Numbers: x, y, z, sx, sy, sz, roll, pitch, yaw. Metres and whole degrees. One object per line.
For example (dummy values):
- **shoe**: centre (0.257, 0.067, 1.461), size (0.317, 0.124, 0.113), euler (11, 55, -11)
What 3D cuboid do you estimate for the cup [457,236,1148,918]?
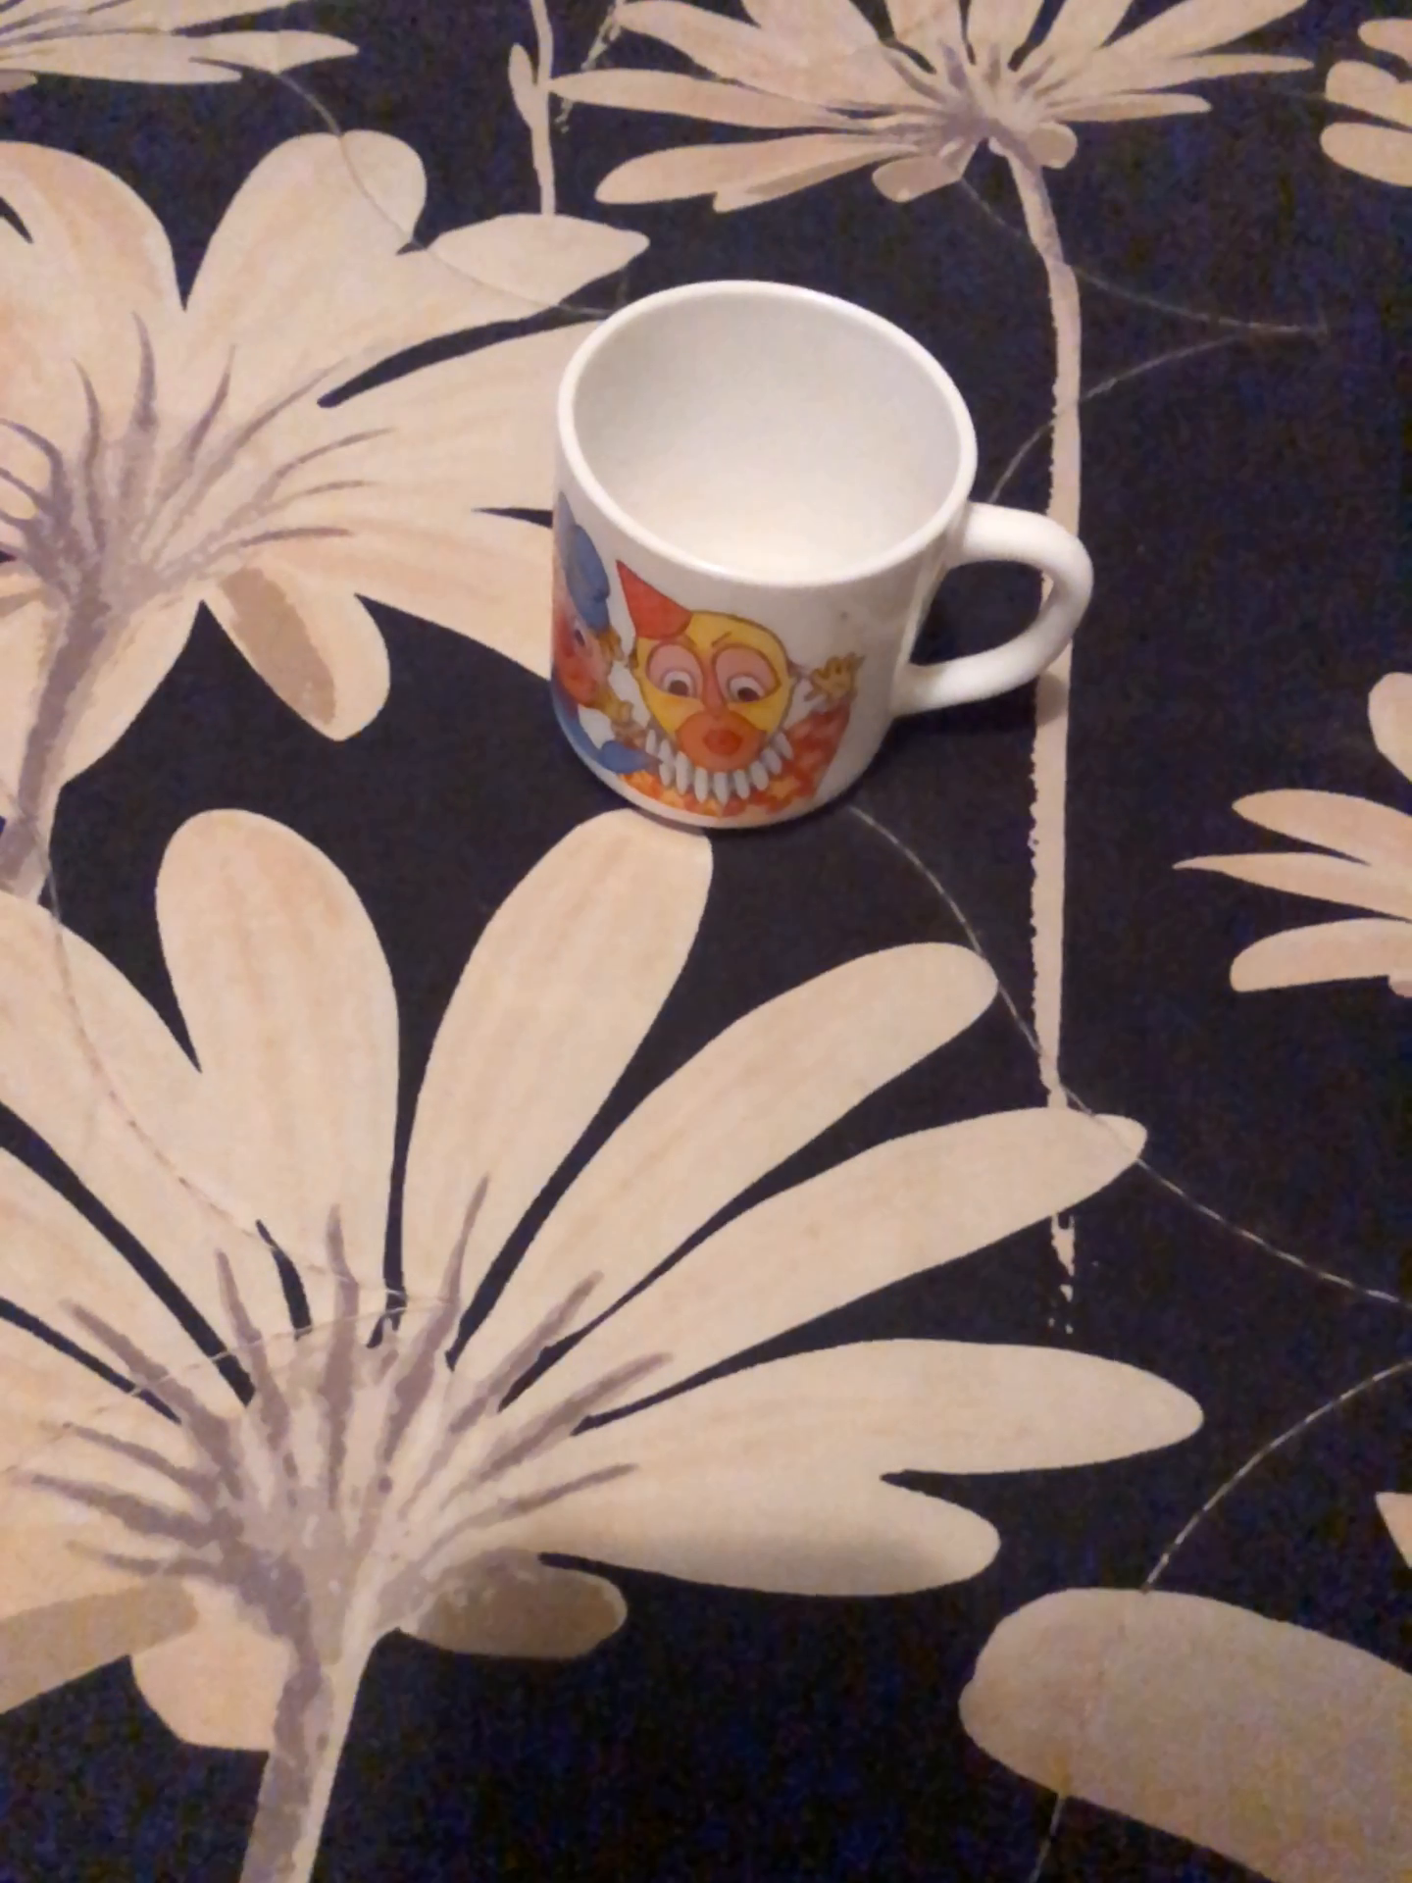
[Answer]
- **cup**: centre (0.020, -0.072, 0.315), size (0.108, 0.077, 0.085), euler (14, 58, 7)
